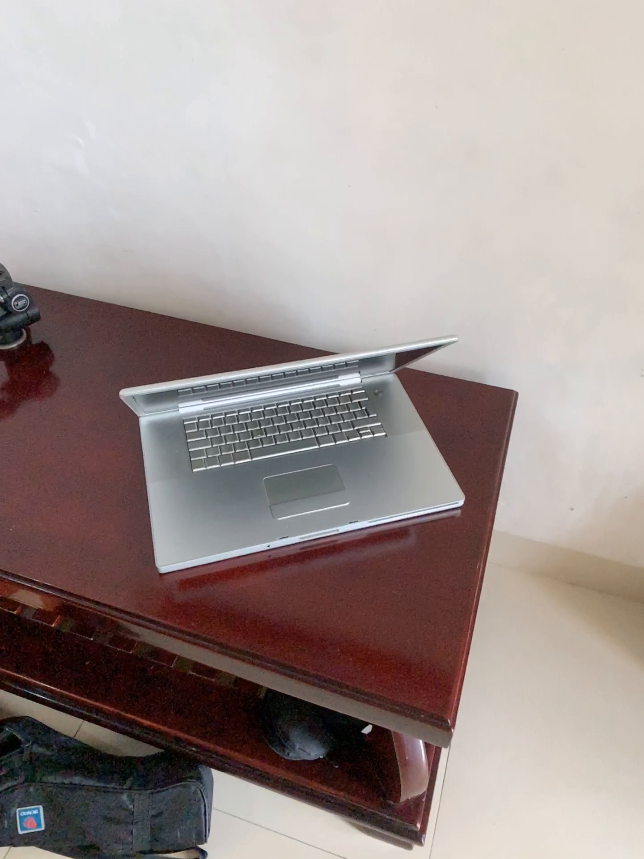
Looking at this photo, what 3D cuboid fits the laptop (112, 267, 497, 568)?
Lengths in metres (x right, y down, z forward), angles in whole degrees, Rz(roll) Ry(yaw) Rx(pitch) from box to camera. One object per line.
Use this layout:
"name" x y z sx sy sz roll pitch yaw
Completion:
"laptop" -0.034 -0.031 0.850 0.399 0.193 0.266 -10 46 -13
